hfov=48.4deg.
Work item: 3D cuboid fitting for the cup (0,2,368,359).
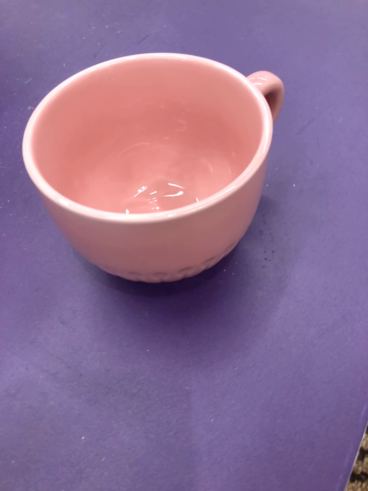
[{"bbox_3d":[-0.003,-0.042,0.197,0.140,0.060,0.110,-38,61,-20],"label":"cup"}]
